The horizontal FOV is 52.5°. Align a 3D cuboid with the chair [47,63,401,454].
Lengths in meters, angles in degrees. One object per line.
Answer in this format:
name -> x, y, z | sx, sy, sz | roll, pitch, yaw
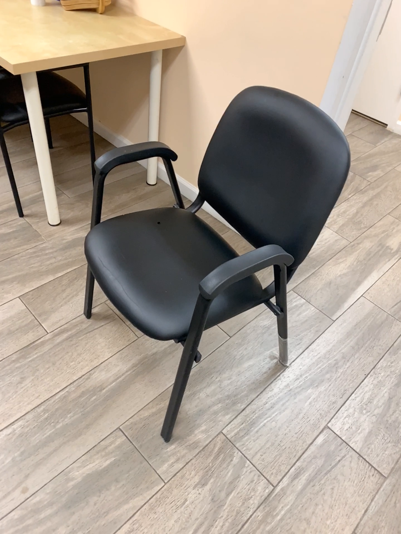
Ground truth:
chair -> 0.015, -0.039, 1.200 | 0.606, 0.817, 0.607 | -22, 51, -28
